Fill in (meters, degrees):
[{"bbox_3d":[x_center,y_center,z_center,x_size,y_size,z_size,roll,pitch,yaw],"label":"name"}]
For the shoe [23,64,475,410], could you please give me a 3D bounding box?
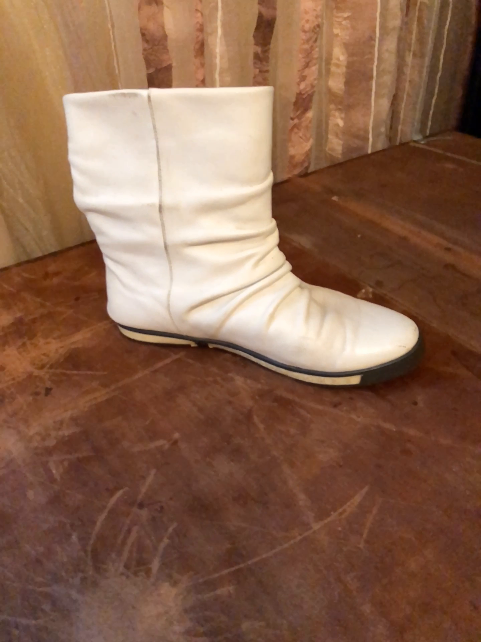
[{"bbox_3d":[0.007,-0.066,0.356,0.240,0.169,0.100,12,37,20],"label":"shoe"}]
